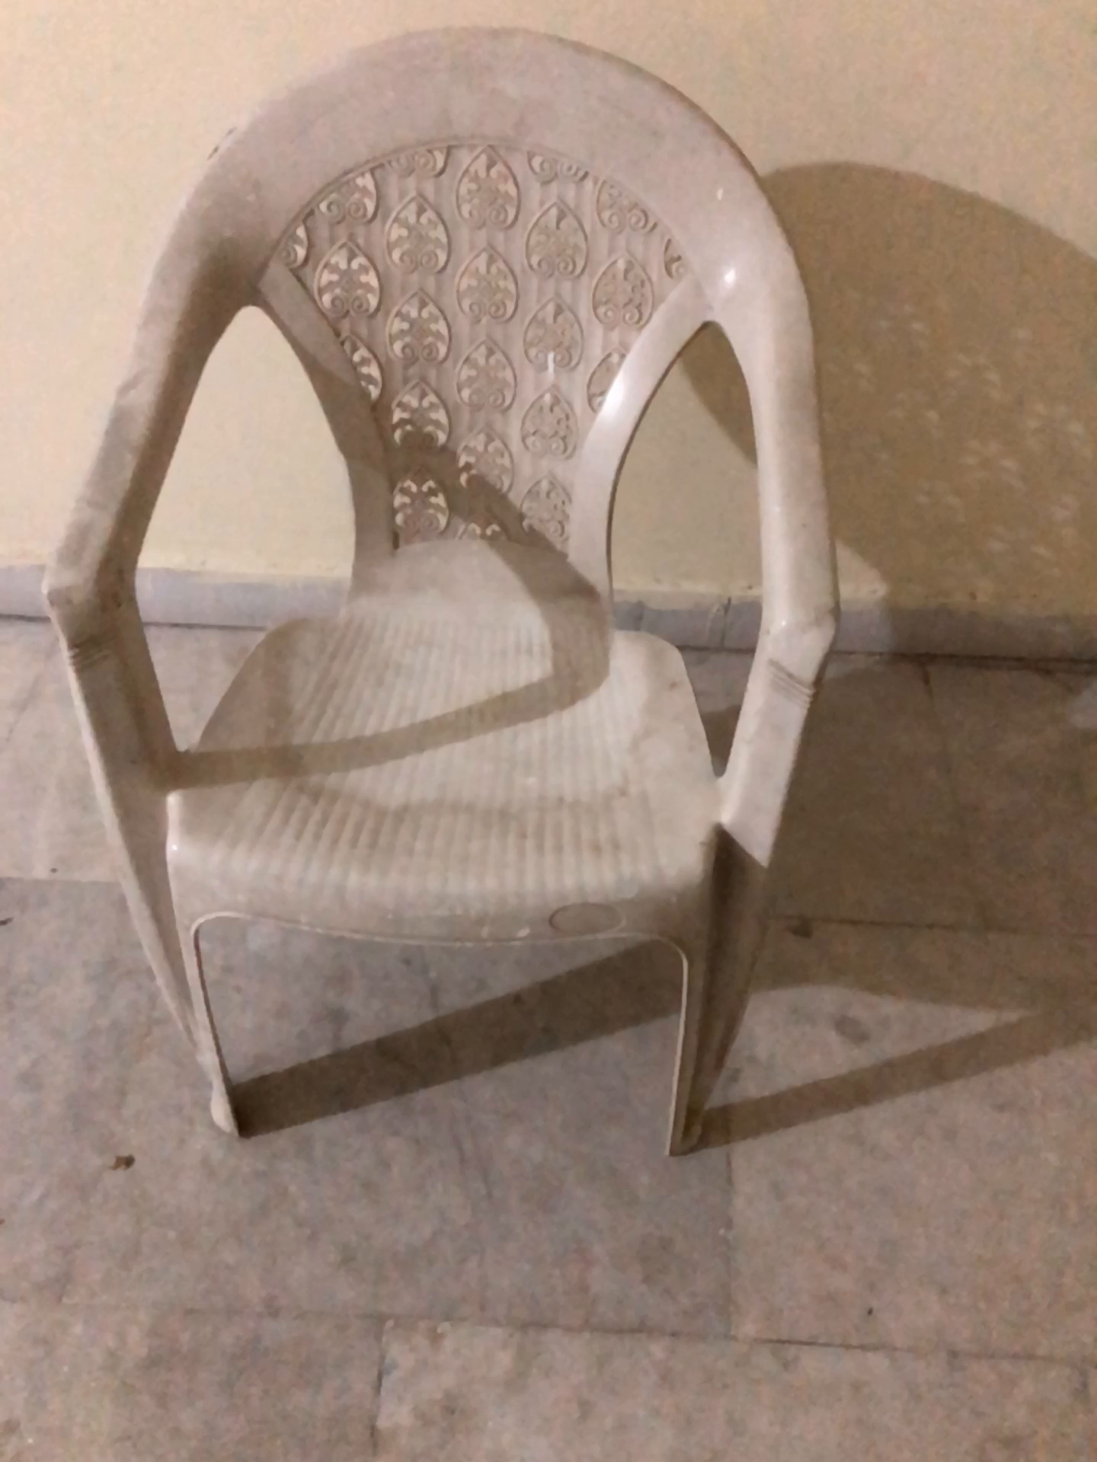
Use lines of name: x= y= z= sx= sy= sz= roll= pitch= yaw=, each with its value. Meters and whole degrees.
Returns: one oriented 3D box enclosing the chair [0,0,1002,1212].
chair: x=-0.066 y=-0.055 z=0.982 sx=0.530 sy=0.834 sz=0.514 roll=3 pitch=45 yaw=2
